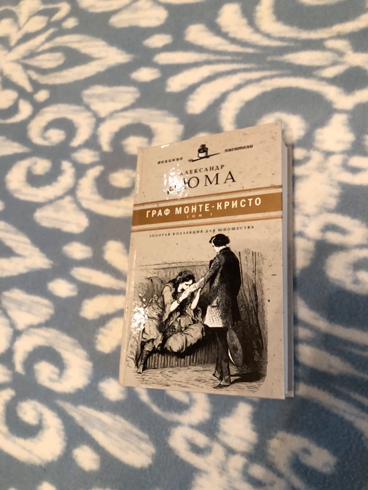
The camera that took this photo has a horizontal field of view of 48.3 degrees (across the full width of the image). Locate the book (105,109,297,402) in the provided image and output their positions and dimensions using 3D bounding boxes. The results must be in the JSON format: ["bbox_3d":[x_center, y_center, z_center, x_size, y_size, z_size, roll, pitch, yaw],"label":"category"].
[{"bbox_3d":[0.015,0.007,0.333,0.138,0.040,0.212,-5,72,25],"label":"book"}]
